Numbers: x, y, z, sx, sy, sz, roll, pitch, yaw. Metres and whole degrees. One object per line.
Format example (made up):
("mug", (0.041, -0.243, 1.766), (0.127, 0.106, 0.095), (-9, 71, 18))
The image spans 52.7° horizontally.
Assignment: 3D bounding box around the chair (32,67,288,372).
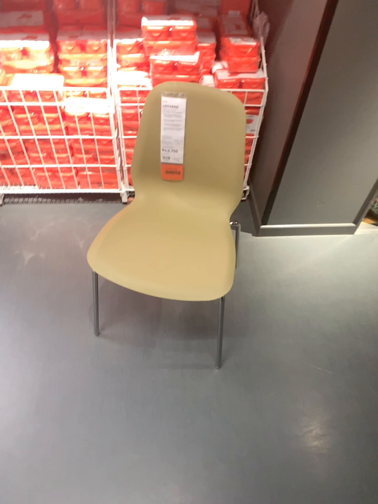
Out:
("chair", (-0.047, -0.073, 1.252), (0.500, 0.728, 0.551), (14, 52, 7))
